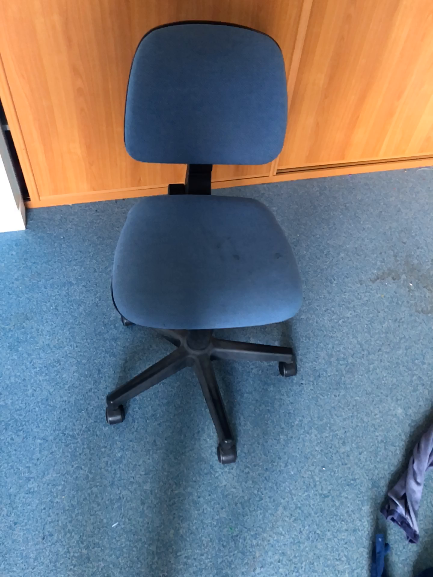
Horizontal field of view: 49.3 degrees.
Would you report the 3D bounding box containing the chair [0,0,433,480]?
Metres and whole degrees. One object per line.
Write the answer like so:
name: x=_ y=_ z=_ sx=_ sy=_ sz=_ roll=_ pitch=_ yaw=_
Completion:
chair: x=-0.017 y=-0.084 z=1.187 sx=0.651 sy=0.915 sz=0.763 roll=-2 pitch=51 yaw=-7
